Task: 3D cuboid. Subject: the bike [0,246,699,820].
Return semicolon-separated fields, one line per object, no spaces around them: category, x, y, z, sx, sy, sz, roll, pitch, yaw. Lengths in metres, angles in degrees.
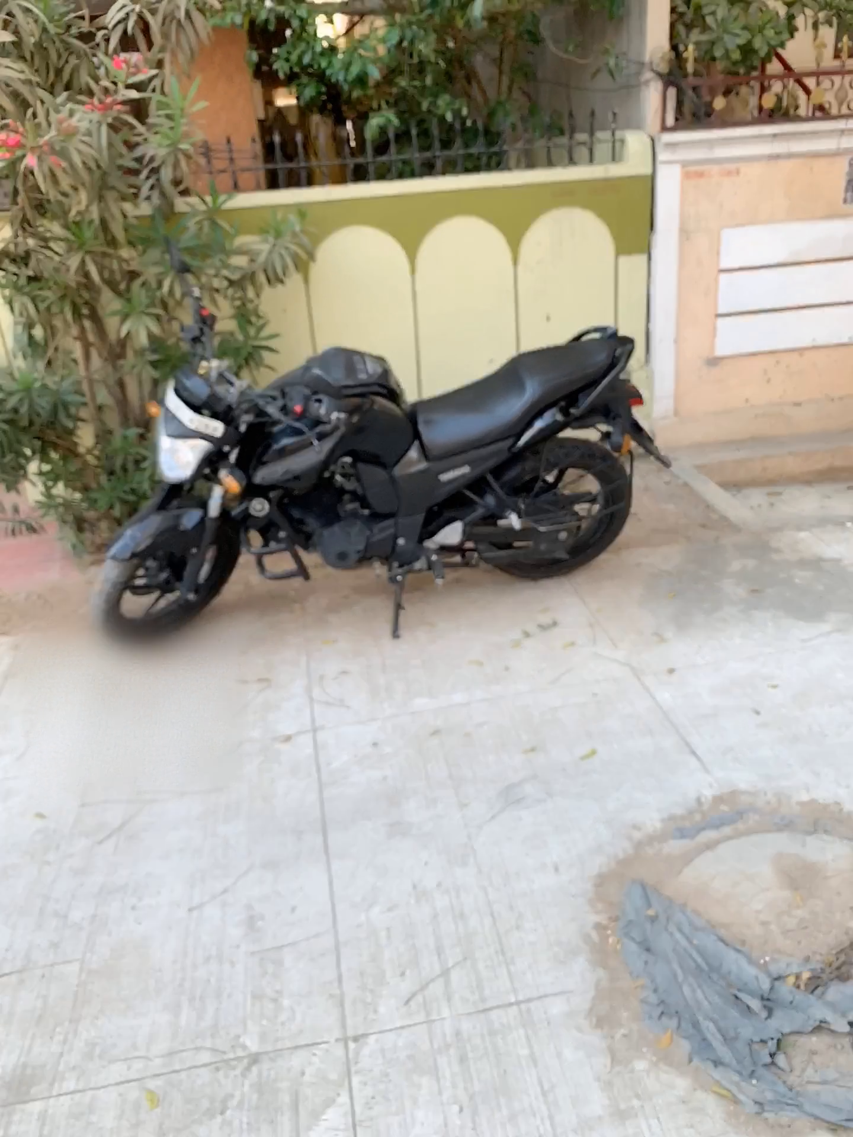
bike;-0.154;-0.180;2.610;1.683;1.076;0.750;-13;25;-8
